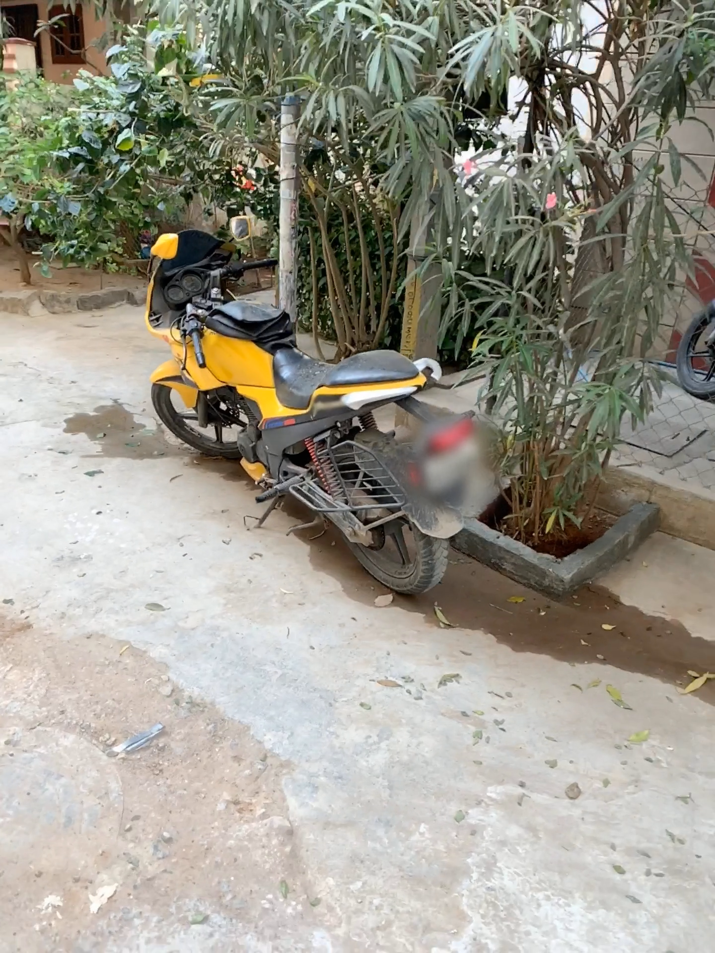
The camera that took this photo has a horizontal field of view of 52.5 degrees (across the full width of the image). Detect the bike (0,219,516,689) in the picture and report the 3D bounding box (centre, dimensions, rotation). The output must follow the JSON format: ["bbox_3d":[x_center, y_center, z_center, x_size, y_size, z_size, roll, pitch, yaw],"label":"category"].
[{"bbox_3d":[-0.510,-0.265,2.648,0.854,0.954,1.751,-19,36,-41],"label":"bike"}]
